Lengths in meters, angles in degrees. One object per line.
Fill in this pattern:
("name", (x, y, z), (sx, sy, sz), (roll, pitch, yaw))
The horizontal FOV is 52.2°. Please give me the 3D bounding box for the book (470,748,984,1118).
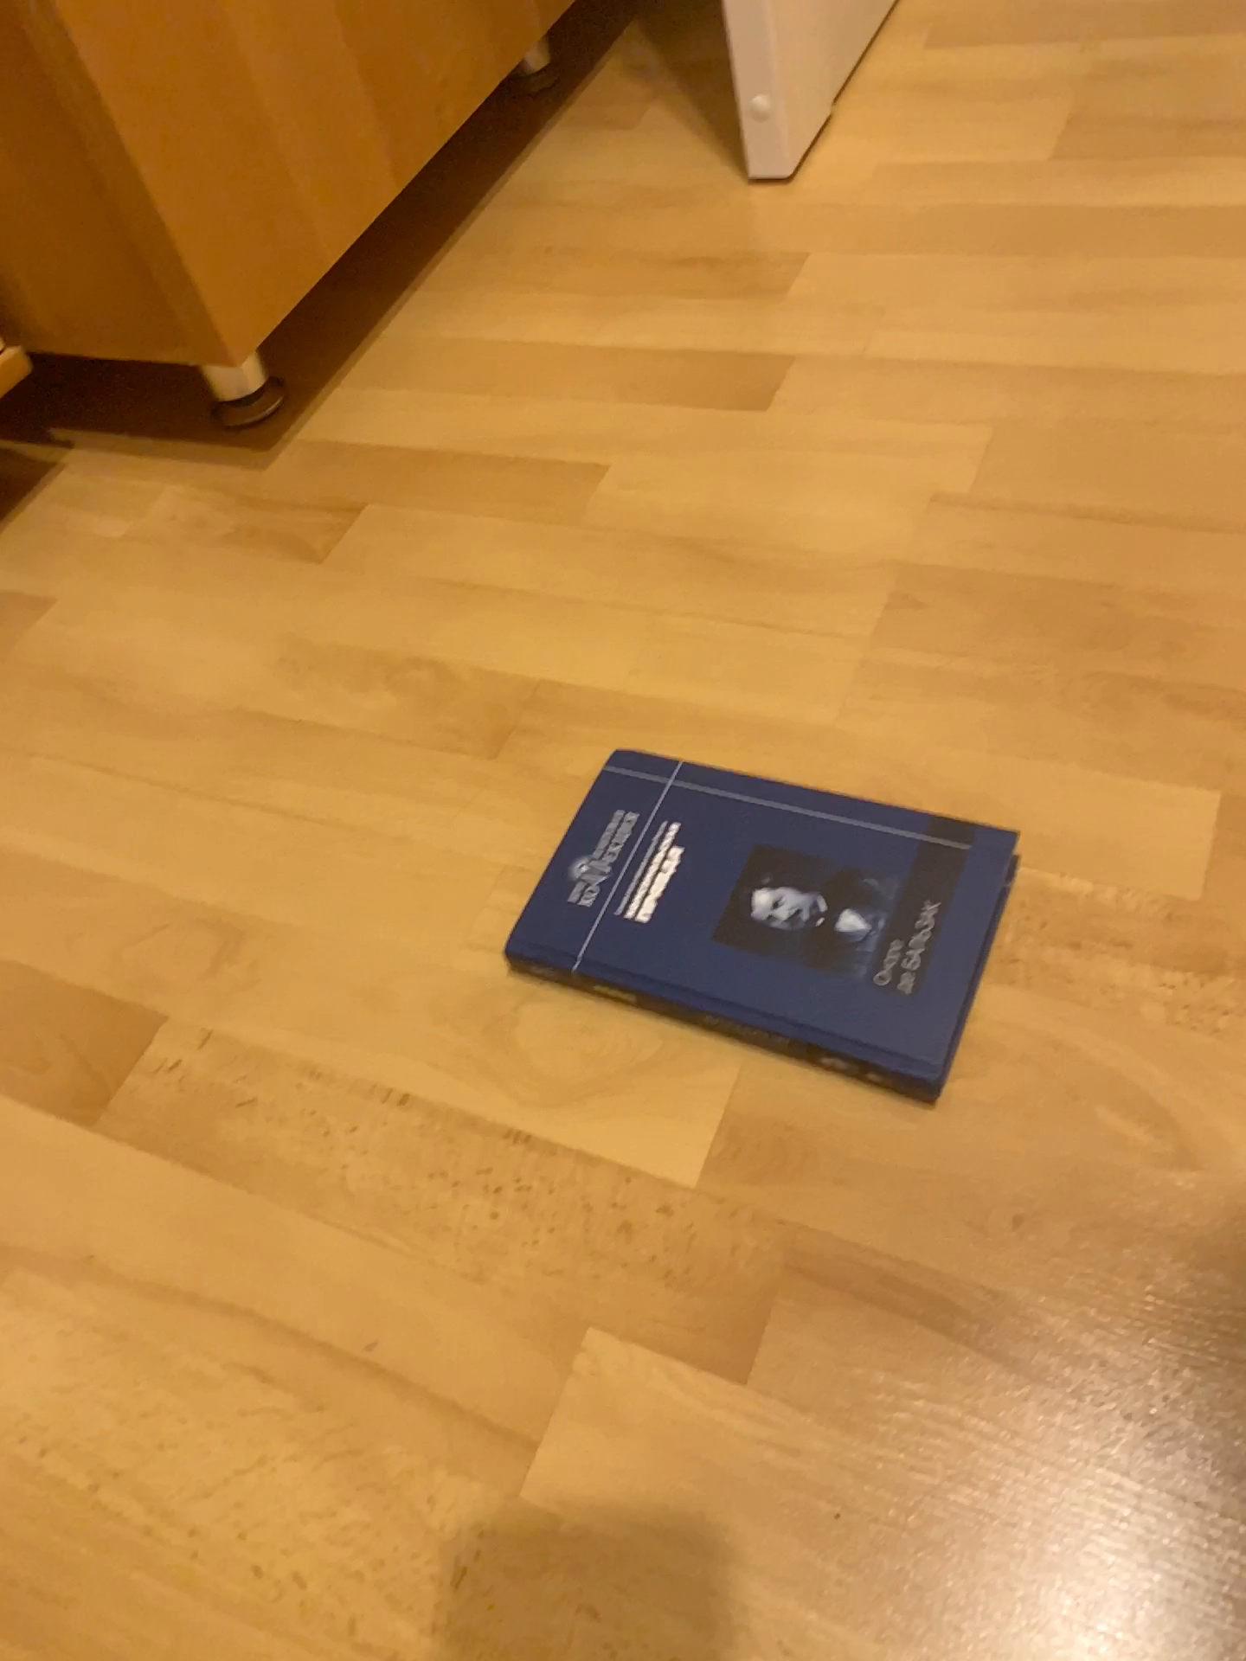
("book", (0.048, 0.038, 0.584), (0.200, 0.030, 0.129), (14, 57, 23))
